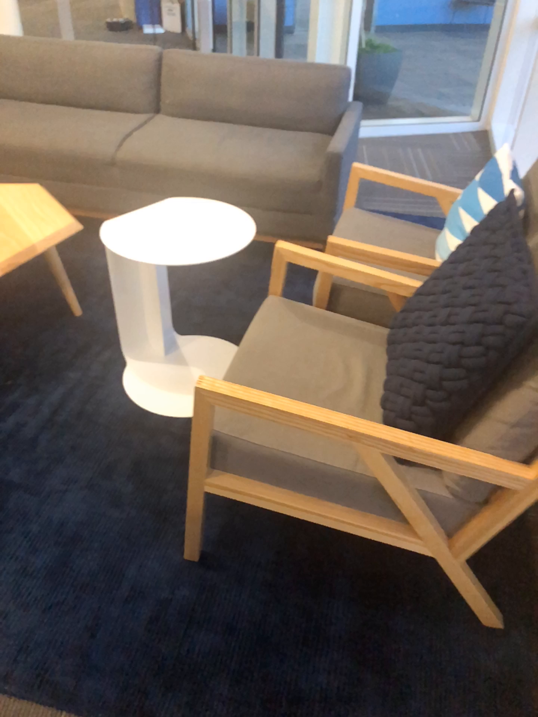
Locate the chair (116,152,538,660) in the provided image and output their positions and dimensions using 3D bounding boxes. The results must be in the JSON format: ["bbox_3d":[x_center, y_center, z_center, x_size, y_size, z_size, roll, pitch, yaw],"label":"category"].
[{"bbox_3d":[0.243,0.055,1.423,0.850,0.773,0.747,10,38,11],"label":"chair"}]
